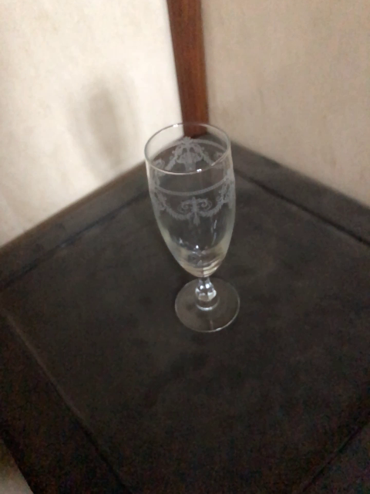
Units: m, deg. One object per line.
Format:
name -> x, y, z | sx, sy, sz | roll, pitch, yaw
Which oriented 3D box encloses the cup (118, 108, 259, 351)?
cup -> 0.013, -0.003, 0.297 | 0.060, 0.169, 0.060 | -5, 47, 5
